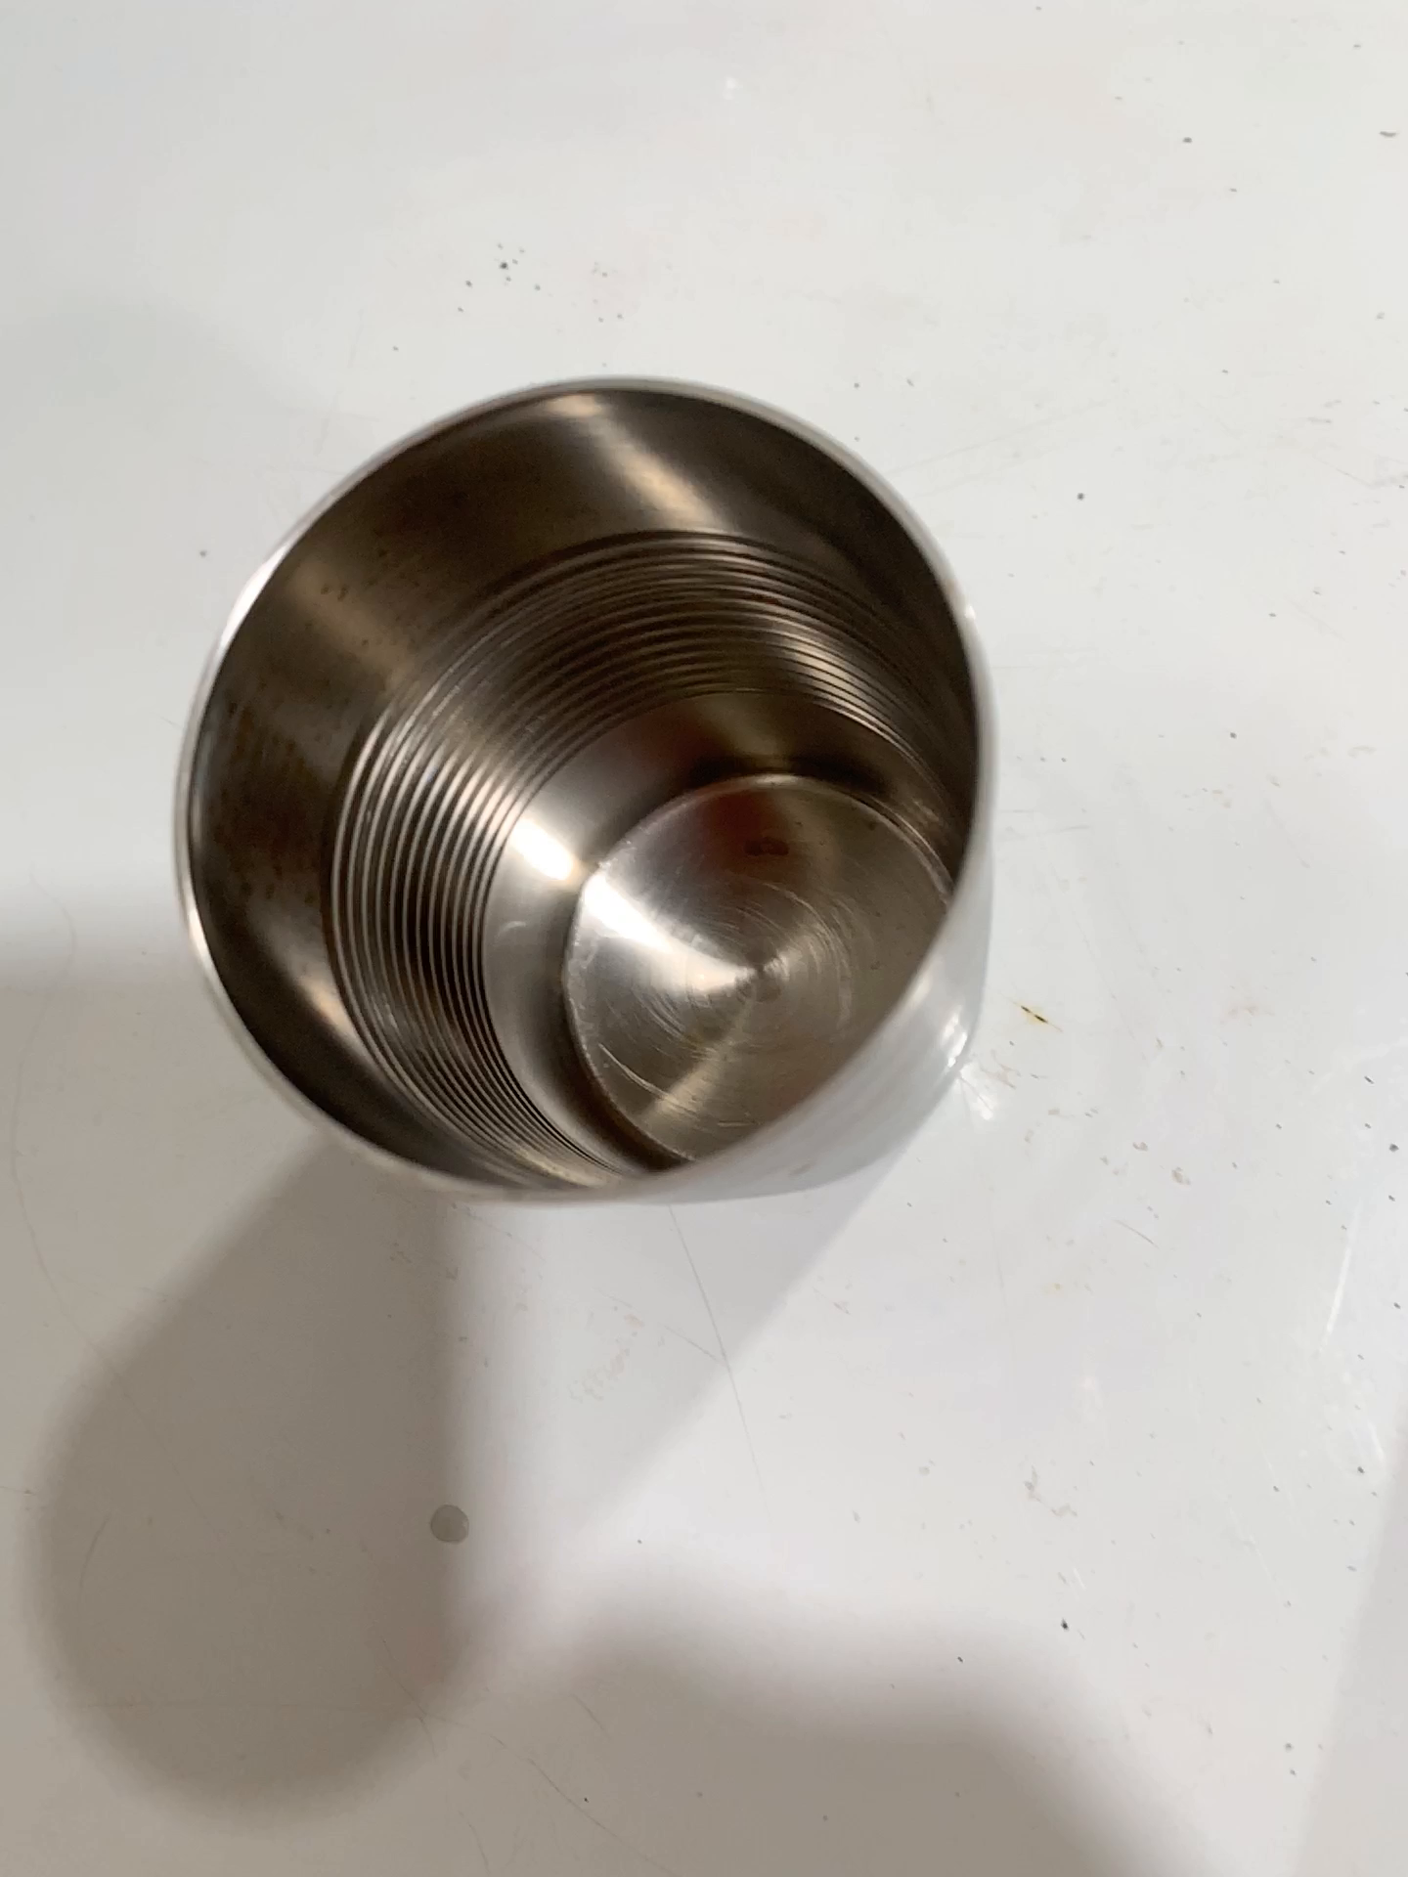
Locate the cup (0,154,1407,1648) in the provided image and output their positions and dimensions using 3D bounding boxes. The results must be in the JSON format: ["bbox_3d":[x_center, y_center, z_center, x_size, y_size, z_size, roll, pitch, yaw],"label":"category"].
[{"bbox_3d":[0.002,0.002,0.141,0.070,0.096,0.070,-2,78,11],"label":"cup"}]
